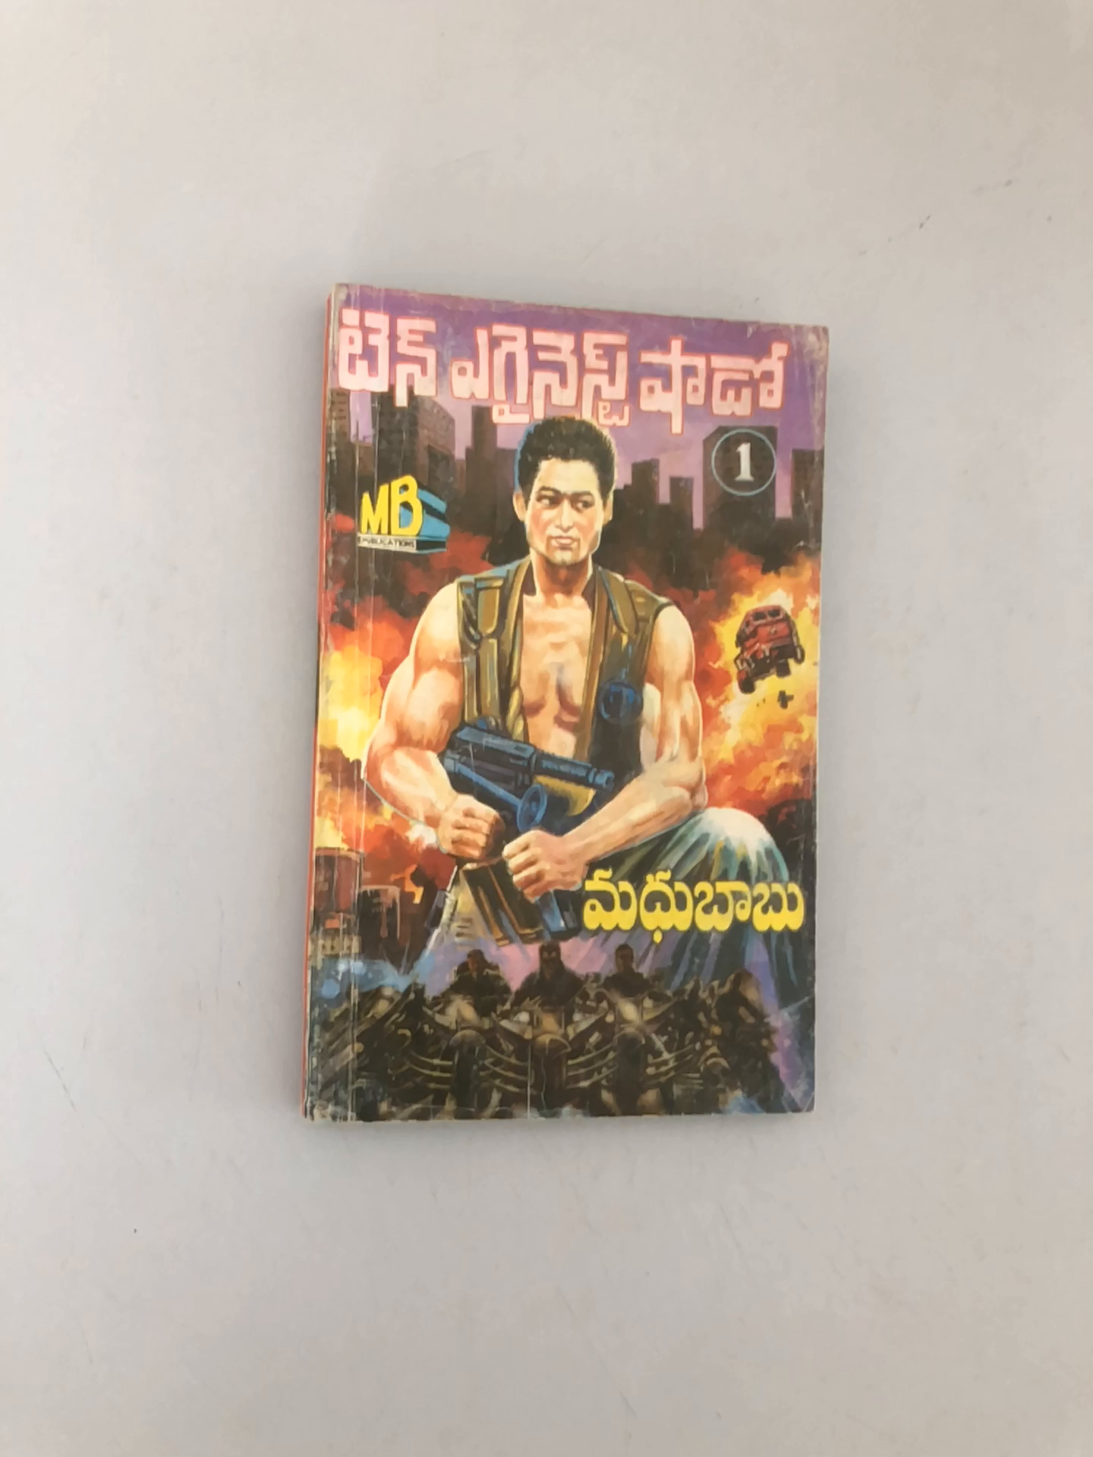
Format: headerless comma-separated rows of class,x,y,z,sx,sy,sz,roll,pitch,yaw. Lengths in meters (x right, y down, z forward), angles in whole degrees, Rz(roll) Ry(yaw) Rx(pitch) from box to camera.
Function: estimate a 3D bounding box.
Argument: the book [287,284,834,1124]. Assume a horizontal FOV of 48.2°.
book,0.004,-0.005,0.231,0.100,0.010,0.151,1,86,-8
